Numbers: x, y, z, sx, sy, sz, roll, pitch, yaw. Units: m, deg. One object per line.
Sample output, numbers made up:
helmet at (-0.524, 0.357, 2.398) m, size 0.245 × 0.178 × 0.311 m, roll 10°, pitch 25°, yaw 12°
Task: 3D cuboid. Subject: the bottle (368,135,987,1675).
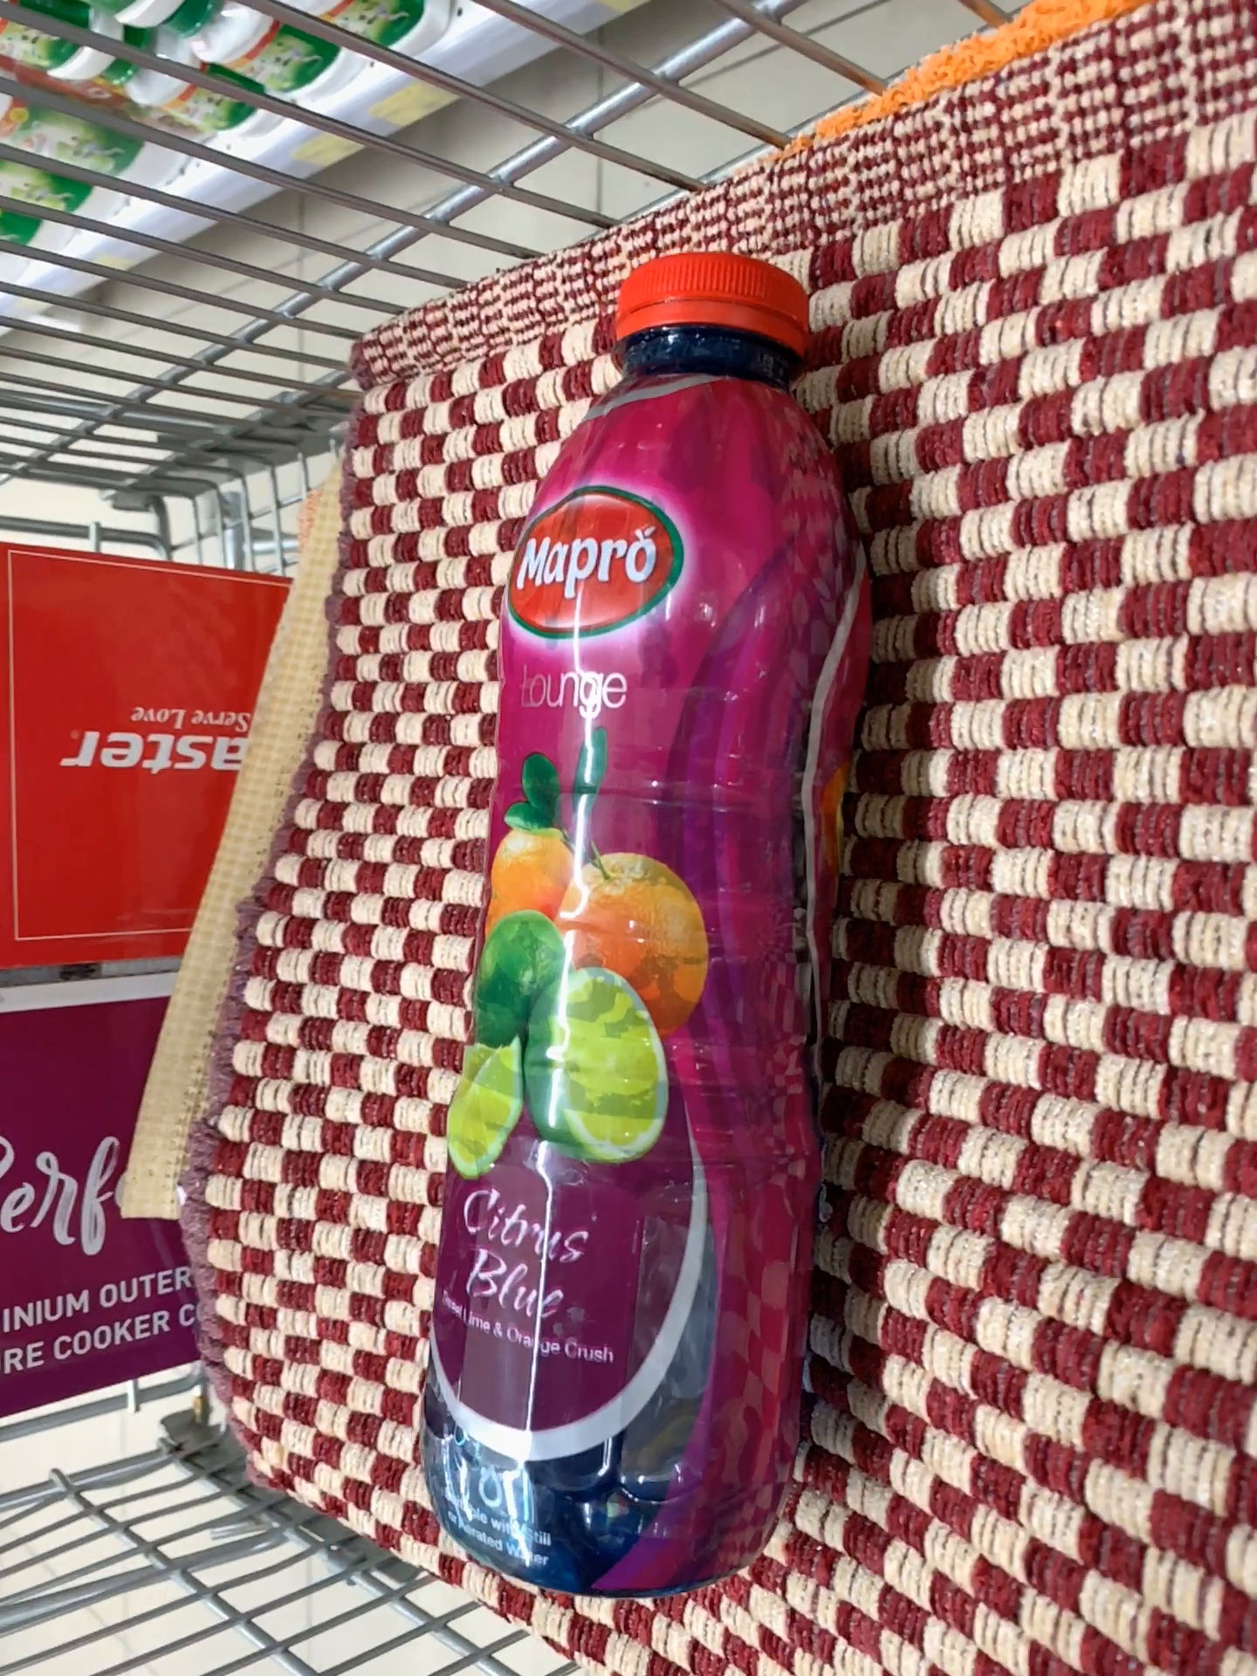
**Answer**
bottle at (0.008, 0.018, 0.252) m, size 0.091 × 0.070 × 0.250 m, roll 5°, pitch 96°, yaw 35°
